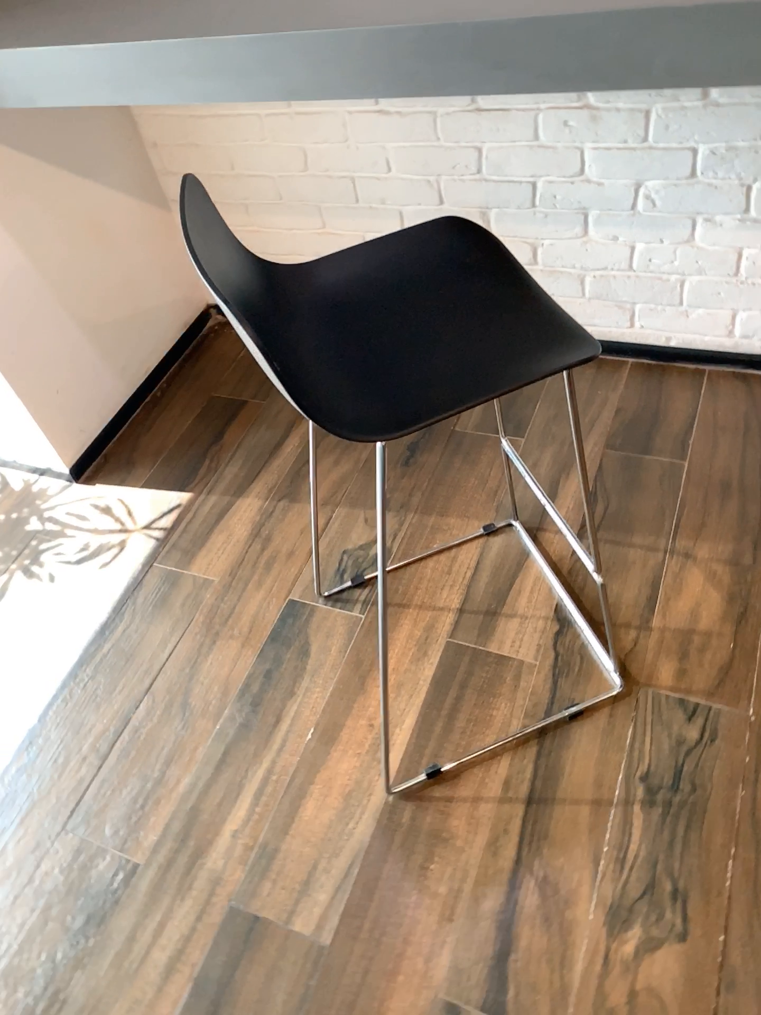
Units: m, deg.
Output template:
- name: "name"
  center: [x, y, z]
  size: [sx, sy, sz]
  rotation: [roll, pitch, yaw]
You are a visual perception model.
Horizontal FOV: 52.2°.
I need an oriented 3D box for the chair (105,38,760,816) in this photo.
- name: "chair"
  center: [0.088, -0.069, 1.162]
  size: [0.590, 0.863, 0.544]
  rotation: [-22, 47, -6]
